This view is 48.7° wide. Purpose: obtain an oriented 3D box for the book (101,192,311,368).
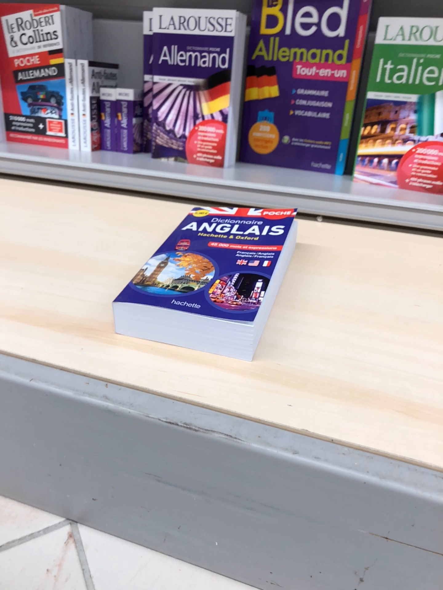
[{"bbox_3d":[0.000,-0.027,0.411,0.118,0.040,0.188,10,35,13],"label":"book"}]
